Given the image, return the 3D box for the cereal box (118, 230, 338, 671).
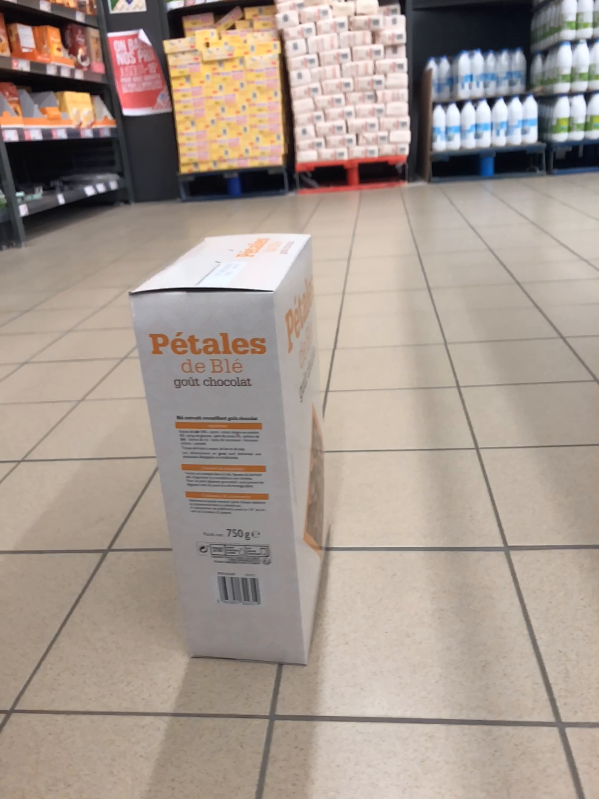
[{"bbox_3d":[-0.035,0.029,0.527,0.100,0.289,0.191,-1,22,9],"label":"cereal box"}]
